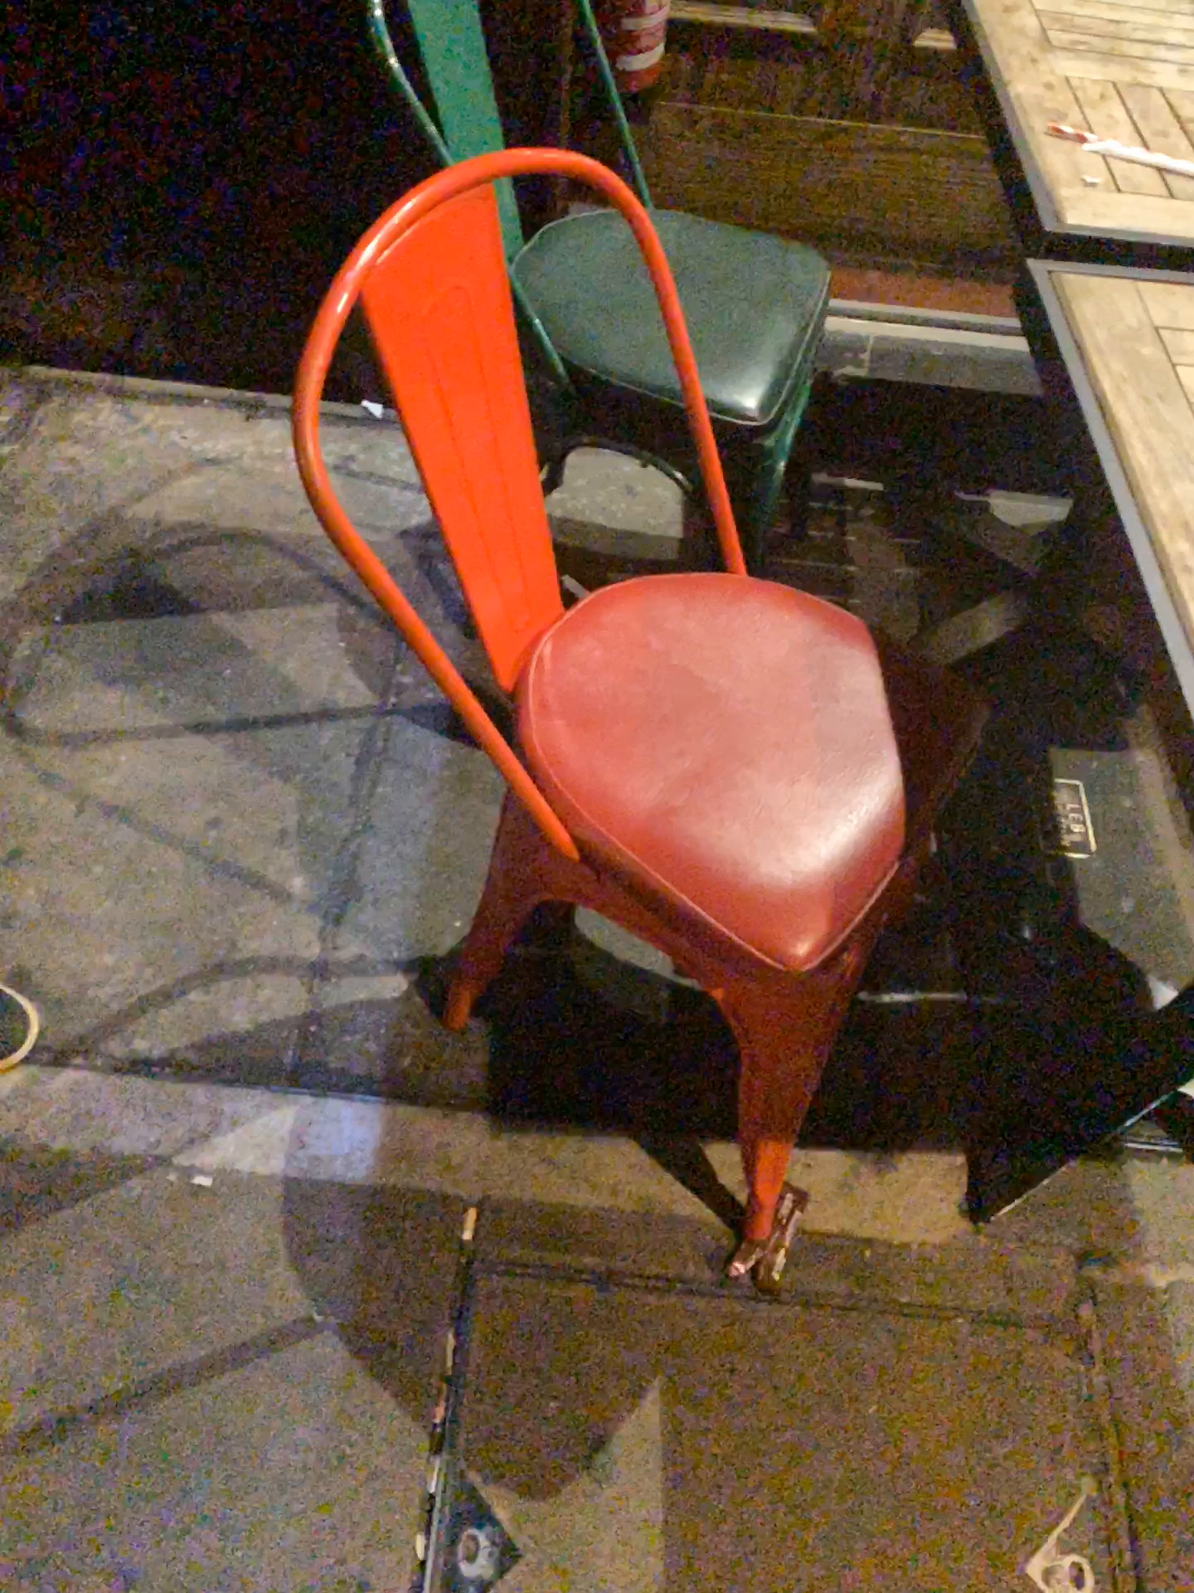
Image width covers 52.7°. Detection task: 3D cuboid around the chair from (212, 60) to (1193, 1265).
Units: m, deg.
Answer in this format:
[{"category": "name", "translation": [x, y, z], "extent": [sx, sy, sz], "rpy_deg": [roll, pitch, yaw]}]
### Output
[{"category": "chair", "translation": [0.085, -0.055, 1.039], "extent": [0.511, 0.812, 0.433], "rpy_deg": [27, 54, 16]}]

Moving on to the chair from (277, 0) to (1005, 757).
[{"category": "chair", "translation": [0.066, -0.537, 1.402], "extent": [0.511, 0.833, 0.433], "rpy_deg": [20, 58, 16]}]
